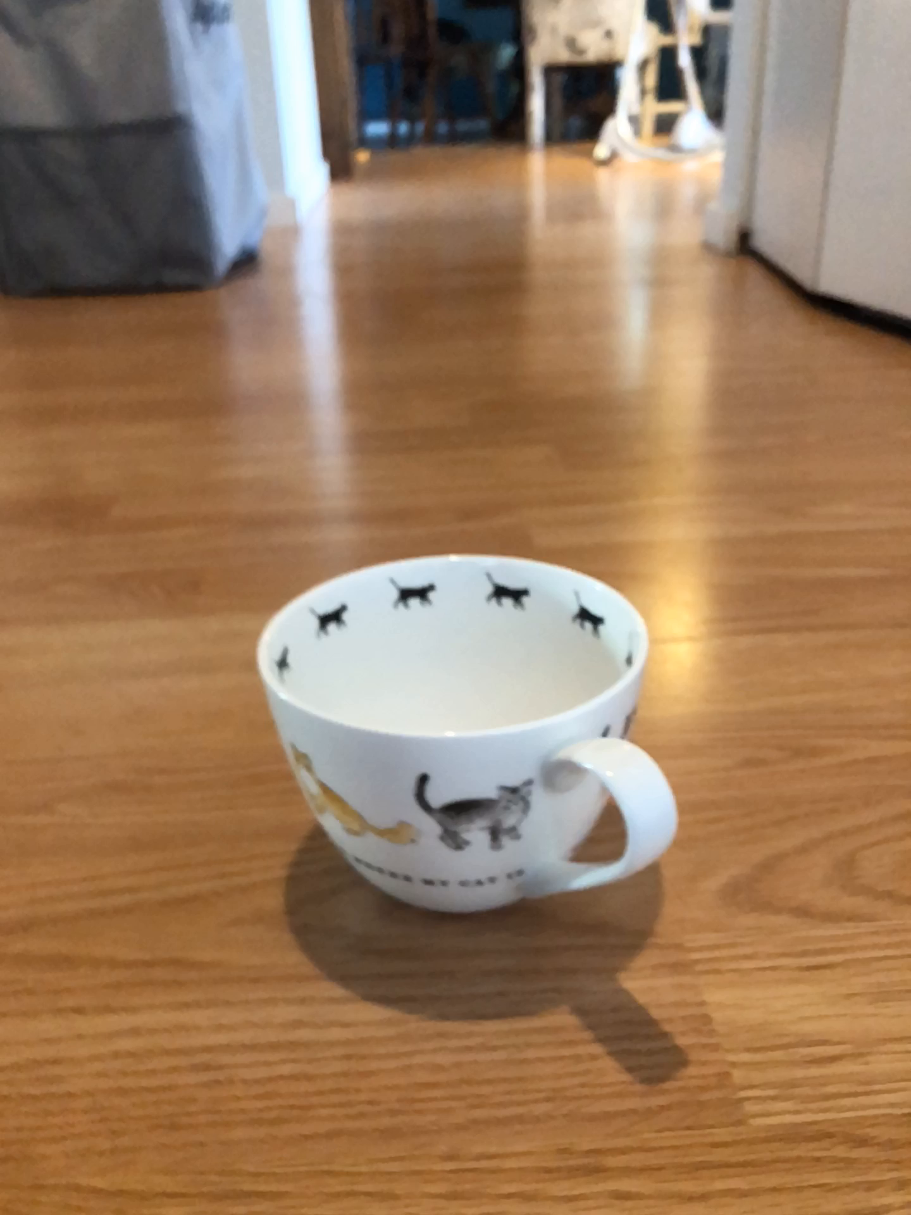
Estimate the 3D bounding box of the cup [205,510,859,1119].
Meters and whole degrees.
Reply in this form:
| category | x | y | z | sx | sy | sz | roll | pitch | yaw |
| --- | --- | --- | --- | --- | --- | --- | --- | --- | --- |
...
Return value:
| category | x | y | z | sx | sy | sz | roll | pitch | yaw |
| --- | --- | --- | --- | --- | --- | --- | --- | --- | --- |
| cup | 0.014 | 0.043 | 0.320 | 0.120 | 0.080 | 0.161 | -18 | 30 | -28 |
